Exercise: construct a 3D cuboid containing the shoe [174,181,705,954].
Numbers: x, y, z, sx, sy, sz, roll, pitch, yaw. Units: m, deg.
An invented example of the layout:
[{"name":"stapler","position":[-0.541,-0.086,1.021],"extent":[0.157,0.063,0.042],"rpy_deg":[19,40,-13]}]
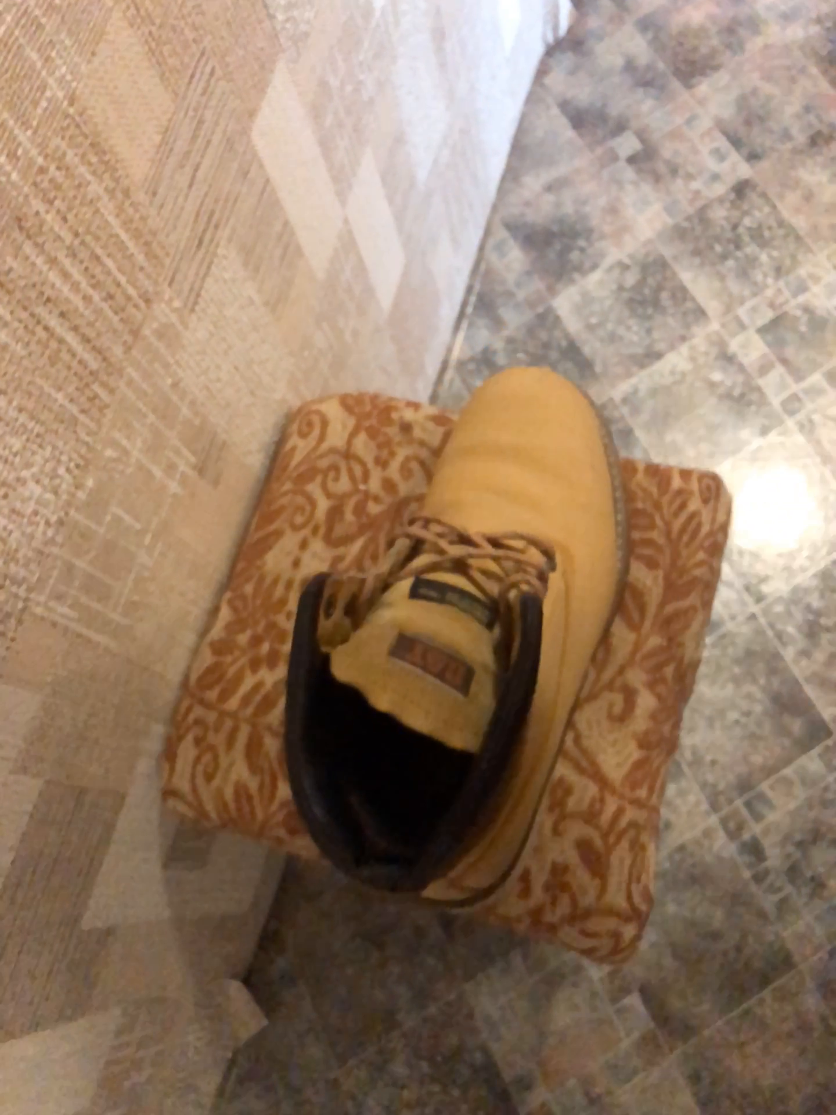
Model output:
[{"name":"shoe","position":[0.030,0.011,0.449],"extent":[0.130,0.190,0.290],"rpy_deg":[13,74,14]}]
